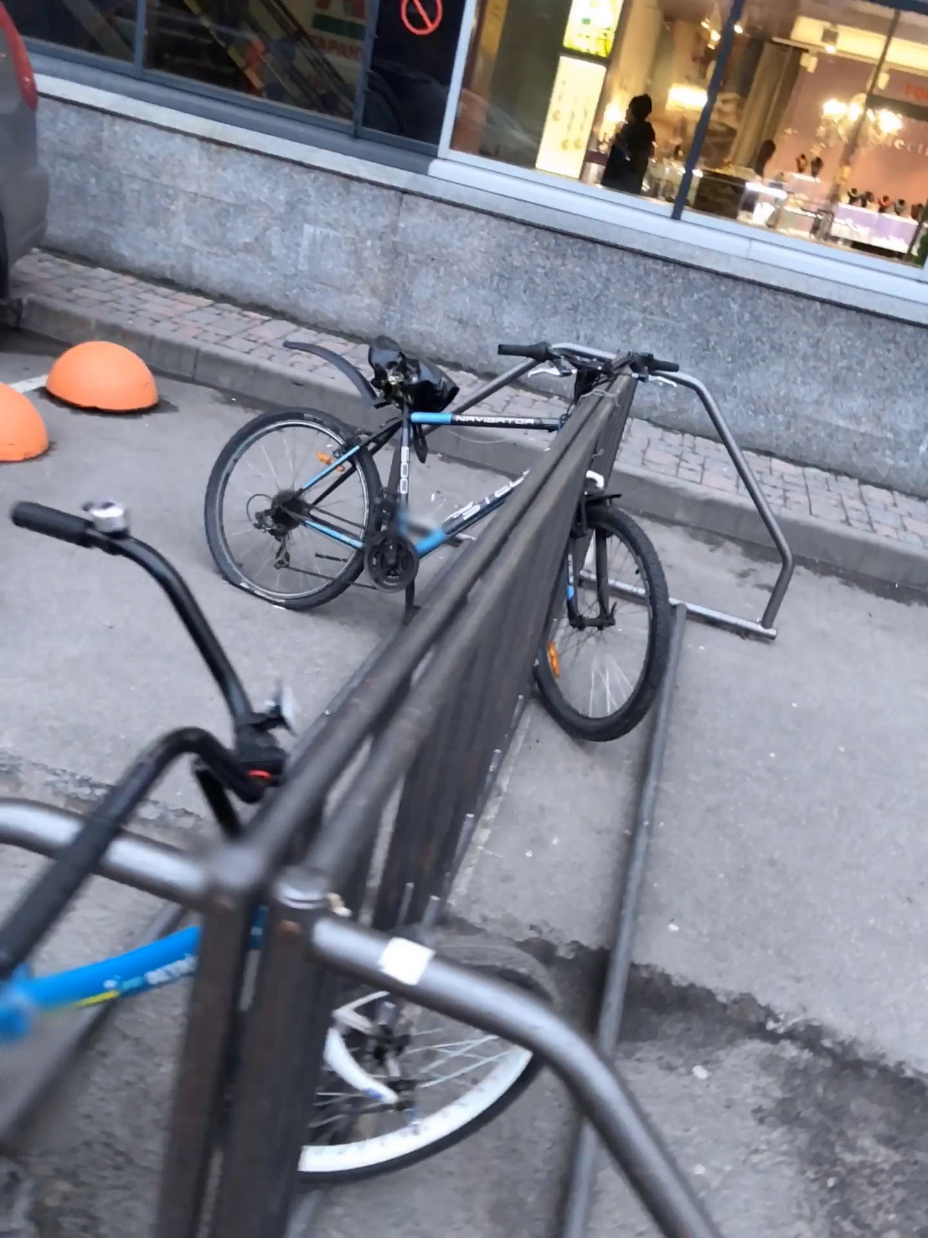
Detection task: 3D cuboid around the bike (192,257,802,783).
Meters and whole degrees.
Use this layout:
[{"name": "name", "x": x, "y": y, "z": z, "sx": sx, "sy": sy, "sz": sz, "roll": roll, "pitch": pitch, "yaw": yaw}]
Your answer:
[{"name": "bike", "x": -0.023, "y": -0.391, "z": 2.964, "sx": 1.586, "sy": 1.051, "sz": 0.537, "roll": 24, "pitch": 27, "yaw": 29}]
